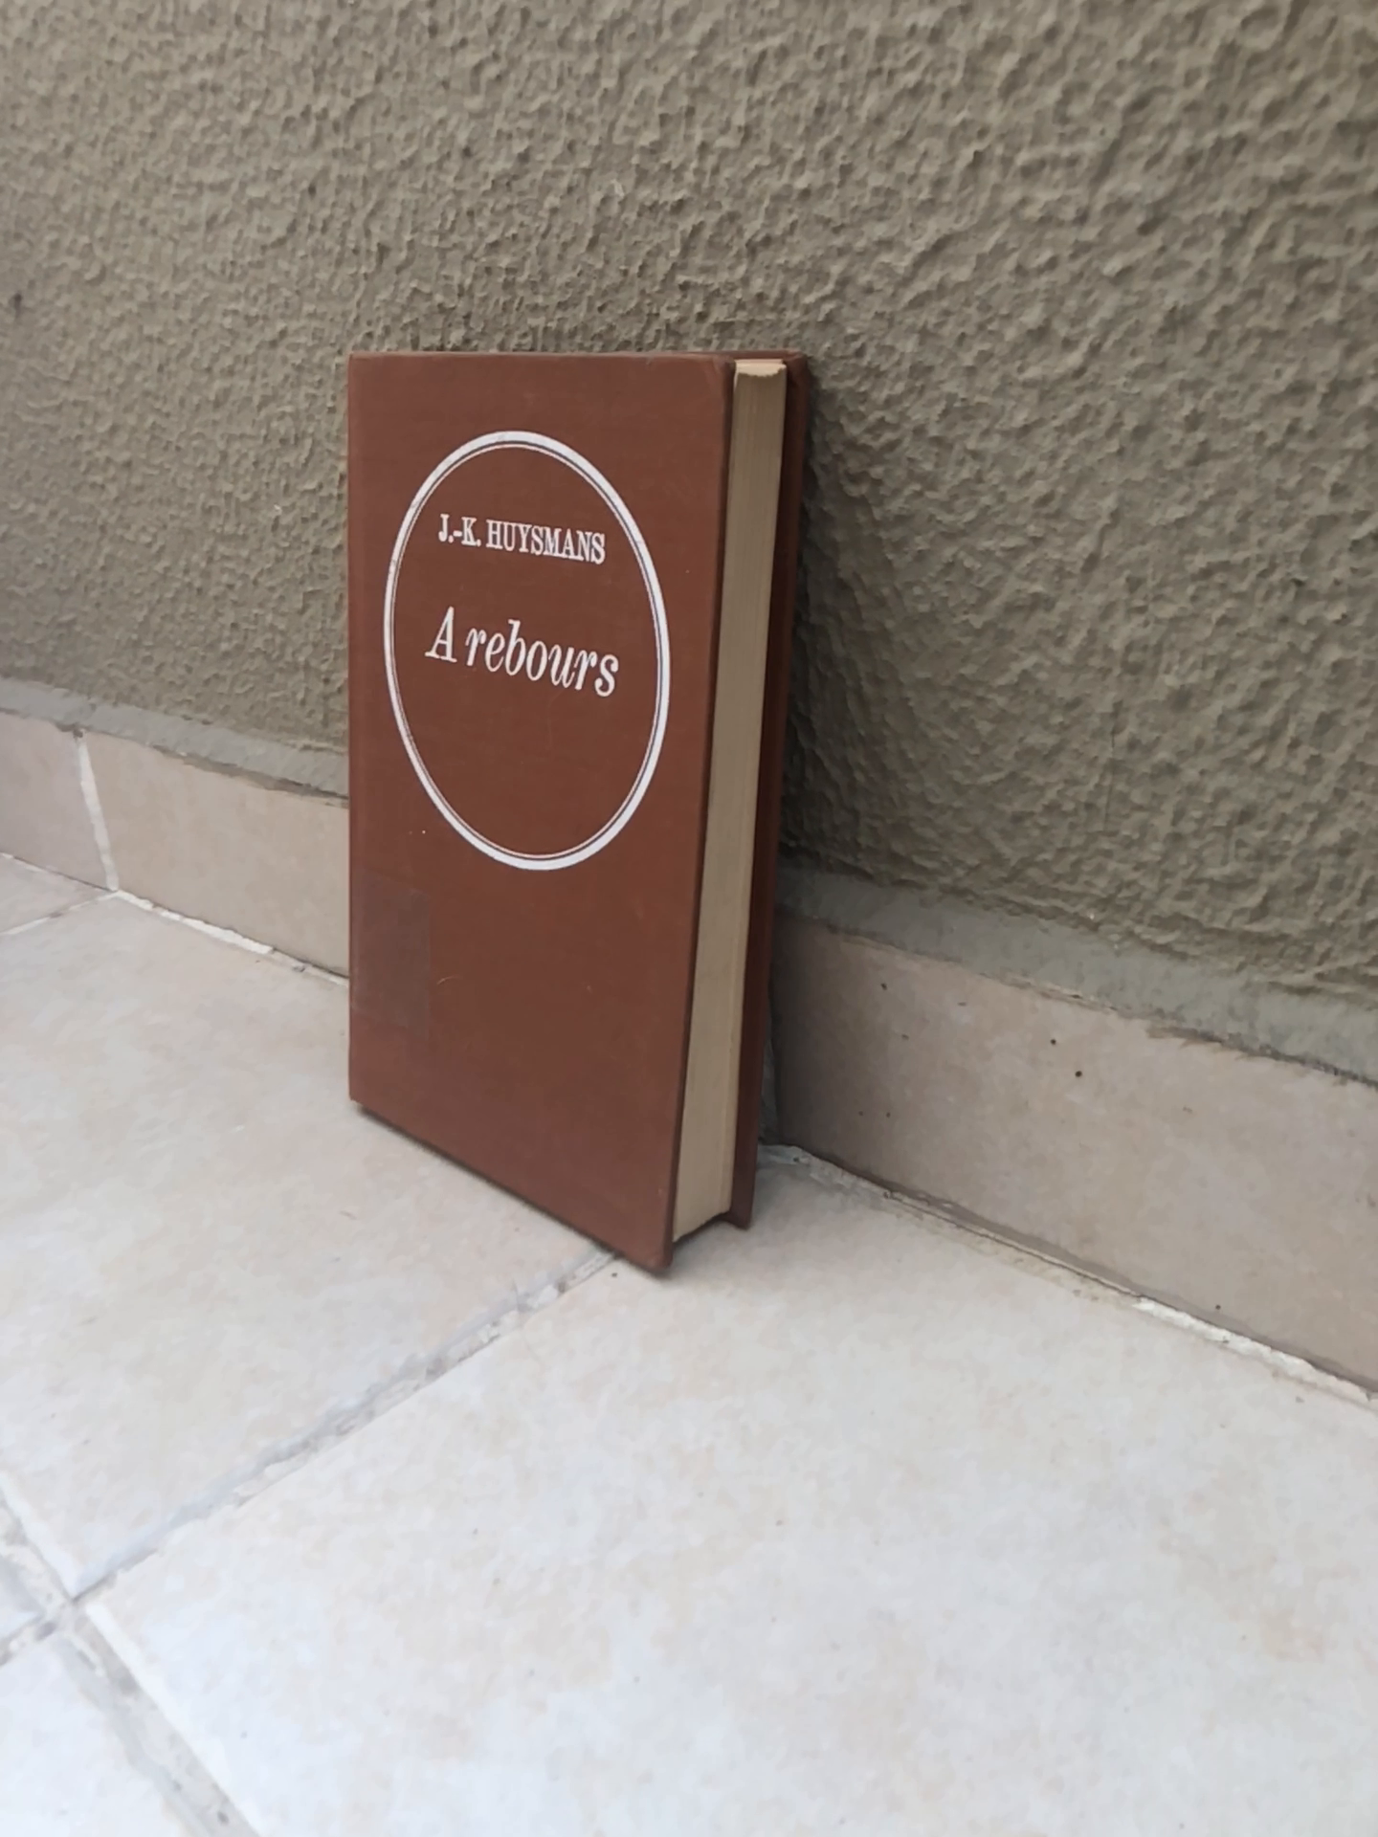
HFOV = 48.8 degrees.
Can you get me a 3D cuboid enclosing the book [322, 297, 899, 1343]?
[{"bbox_3d":[-0.031,-0.030,0.365,0.040,0.209,0.151,-10,19,-43],"label":"book"}]
